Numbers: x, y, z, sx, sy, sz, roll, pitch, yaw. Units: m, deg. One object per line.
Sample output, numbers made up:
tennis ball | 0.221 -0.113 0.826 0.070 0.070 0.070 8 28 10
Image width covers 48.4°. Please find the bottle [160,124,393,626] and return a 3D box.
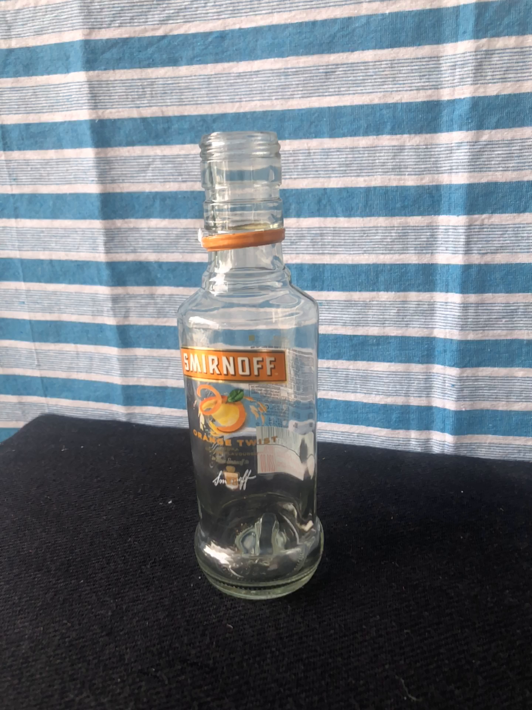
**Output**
bottle | 0.006 0.006 0.221 0.060 0.169 0.050 9 21 27
